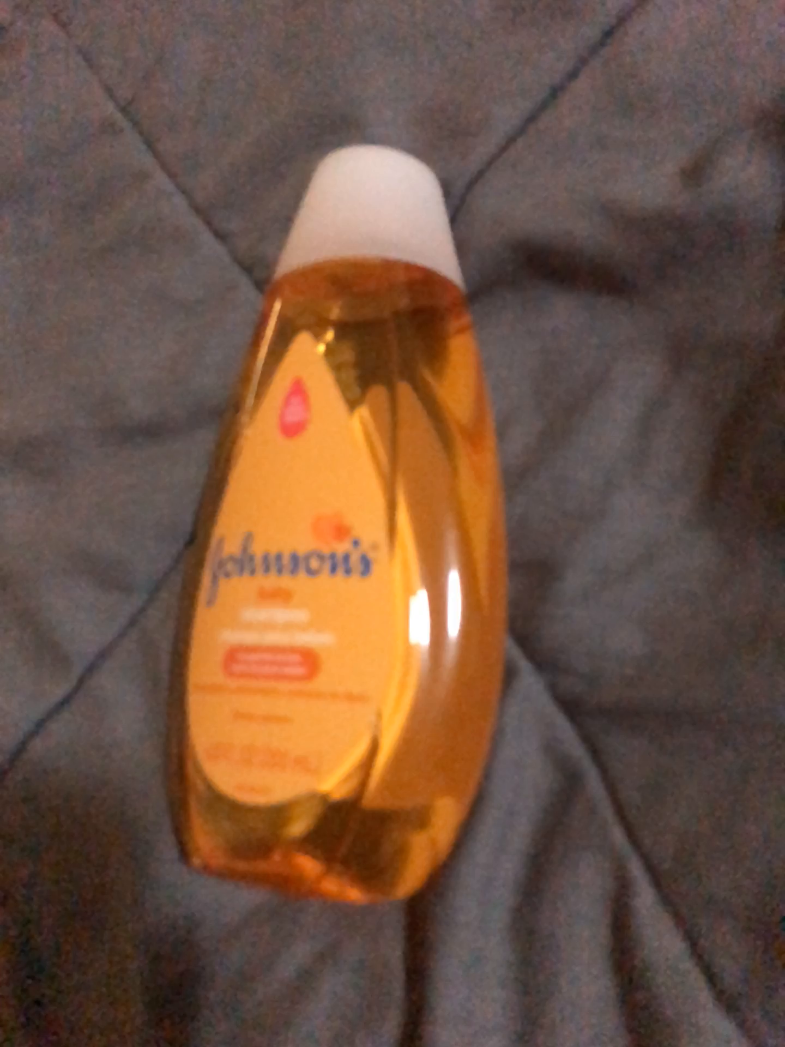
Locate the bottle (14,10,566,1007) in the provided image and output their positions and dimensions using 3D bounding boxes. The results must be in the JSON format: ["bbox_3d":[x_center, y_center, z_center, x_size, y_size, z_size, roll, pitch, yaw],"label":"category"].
[{"bbox_3d":[-0.016,-0.006,0.171,0.084,0.040,0.160,-1,76,29],"label":"bottle"}]
